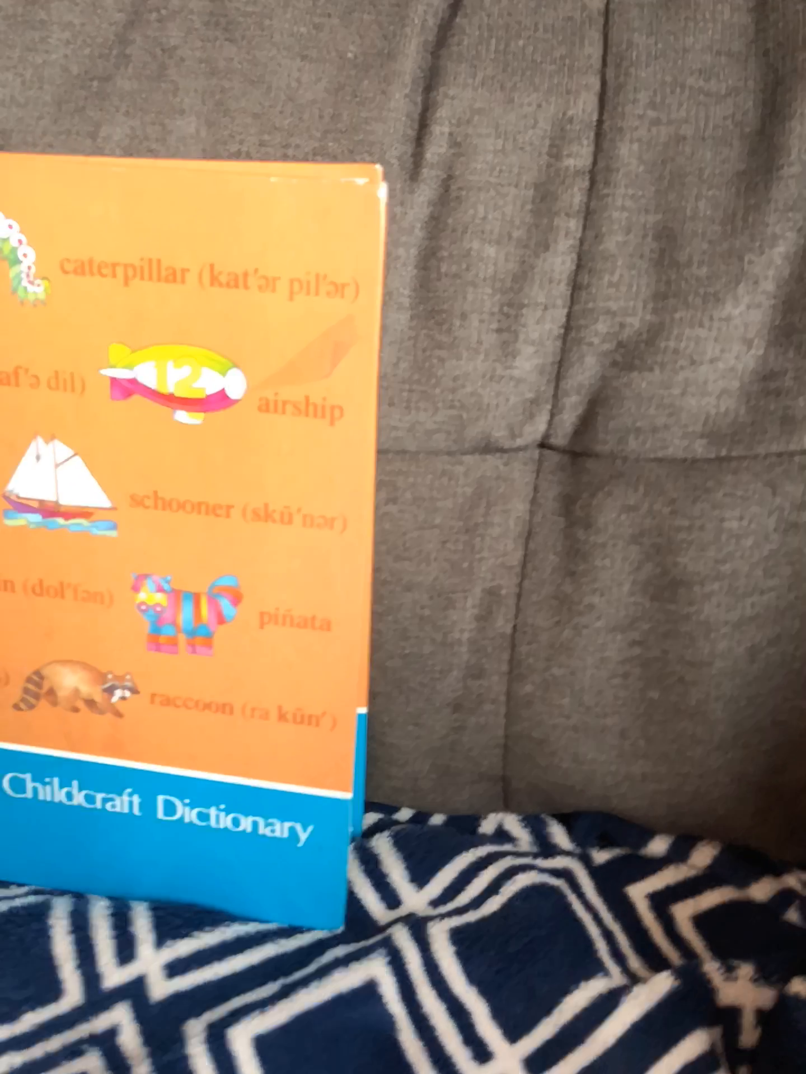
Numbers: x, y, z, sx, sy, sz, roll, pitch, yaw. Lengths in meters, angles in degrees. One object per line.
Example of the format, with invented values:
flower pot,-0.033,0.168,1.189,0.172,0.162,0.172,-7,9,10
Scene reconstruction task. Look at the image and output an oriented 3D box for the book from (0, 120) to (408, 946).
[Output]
book,-0.114,0.004,0.313,0.210,0.260,0.055,6,20,6
